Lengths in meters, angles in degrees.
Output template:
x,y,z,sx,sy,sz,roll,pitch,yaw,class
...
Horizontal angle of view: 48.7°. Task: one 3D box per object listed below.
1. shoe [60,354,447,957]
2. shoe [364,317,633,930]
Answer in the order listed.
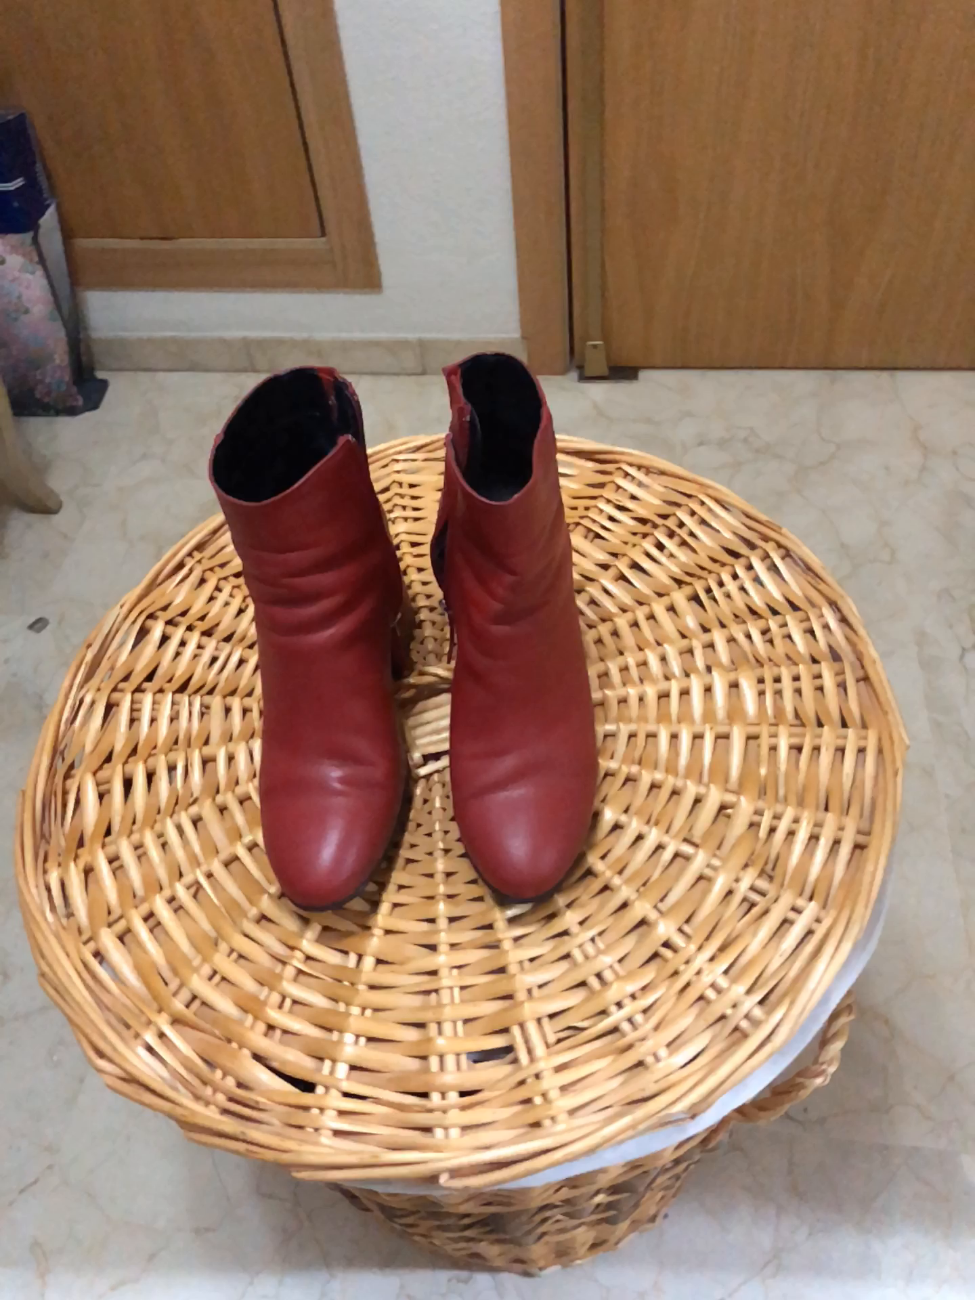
x,y,z,sx,sy,sz,roll,pitch,yaw,class
-0.095,0.000,0.553,0.098,0.184,0.245,2,51,7,shoe
0.002,-0.016,0.553,0.098,0.184,0.245,-7,51,0,shoe
